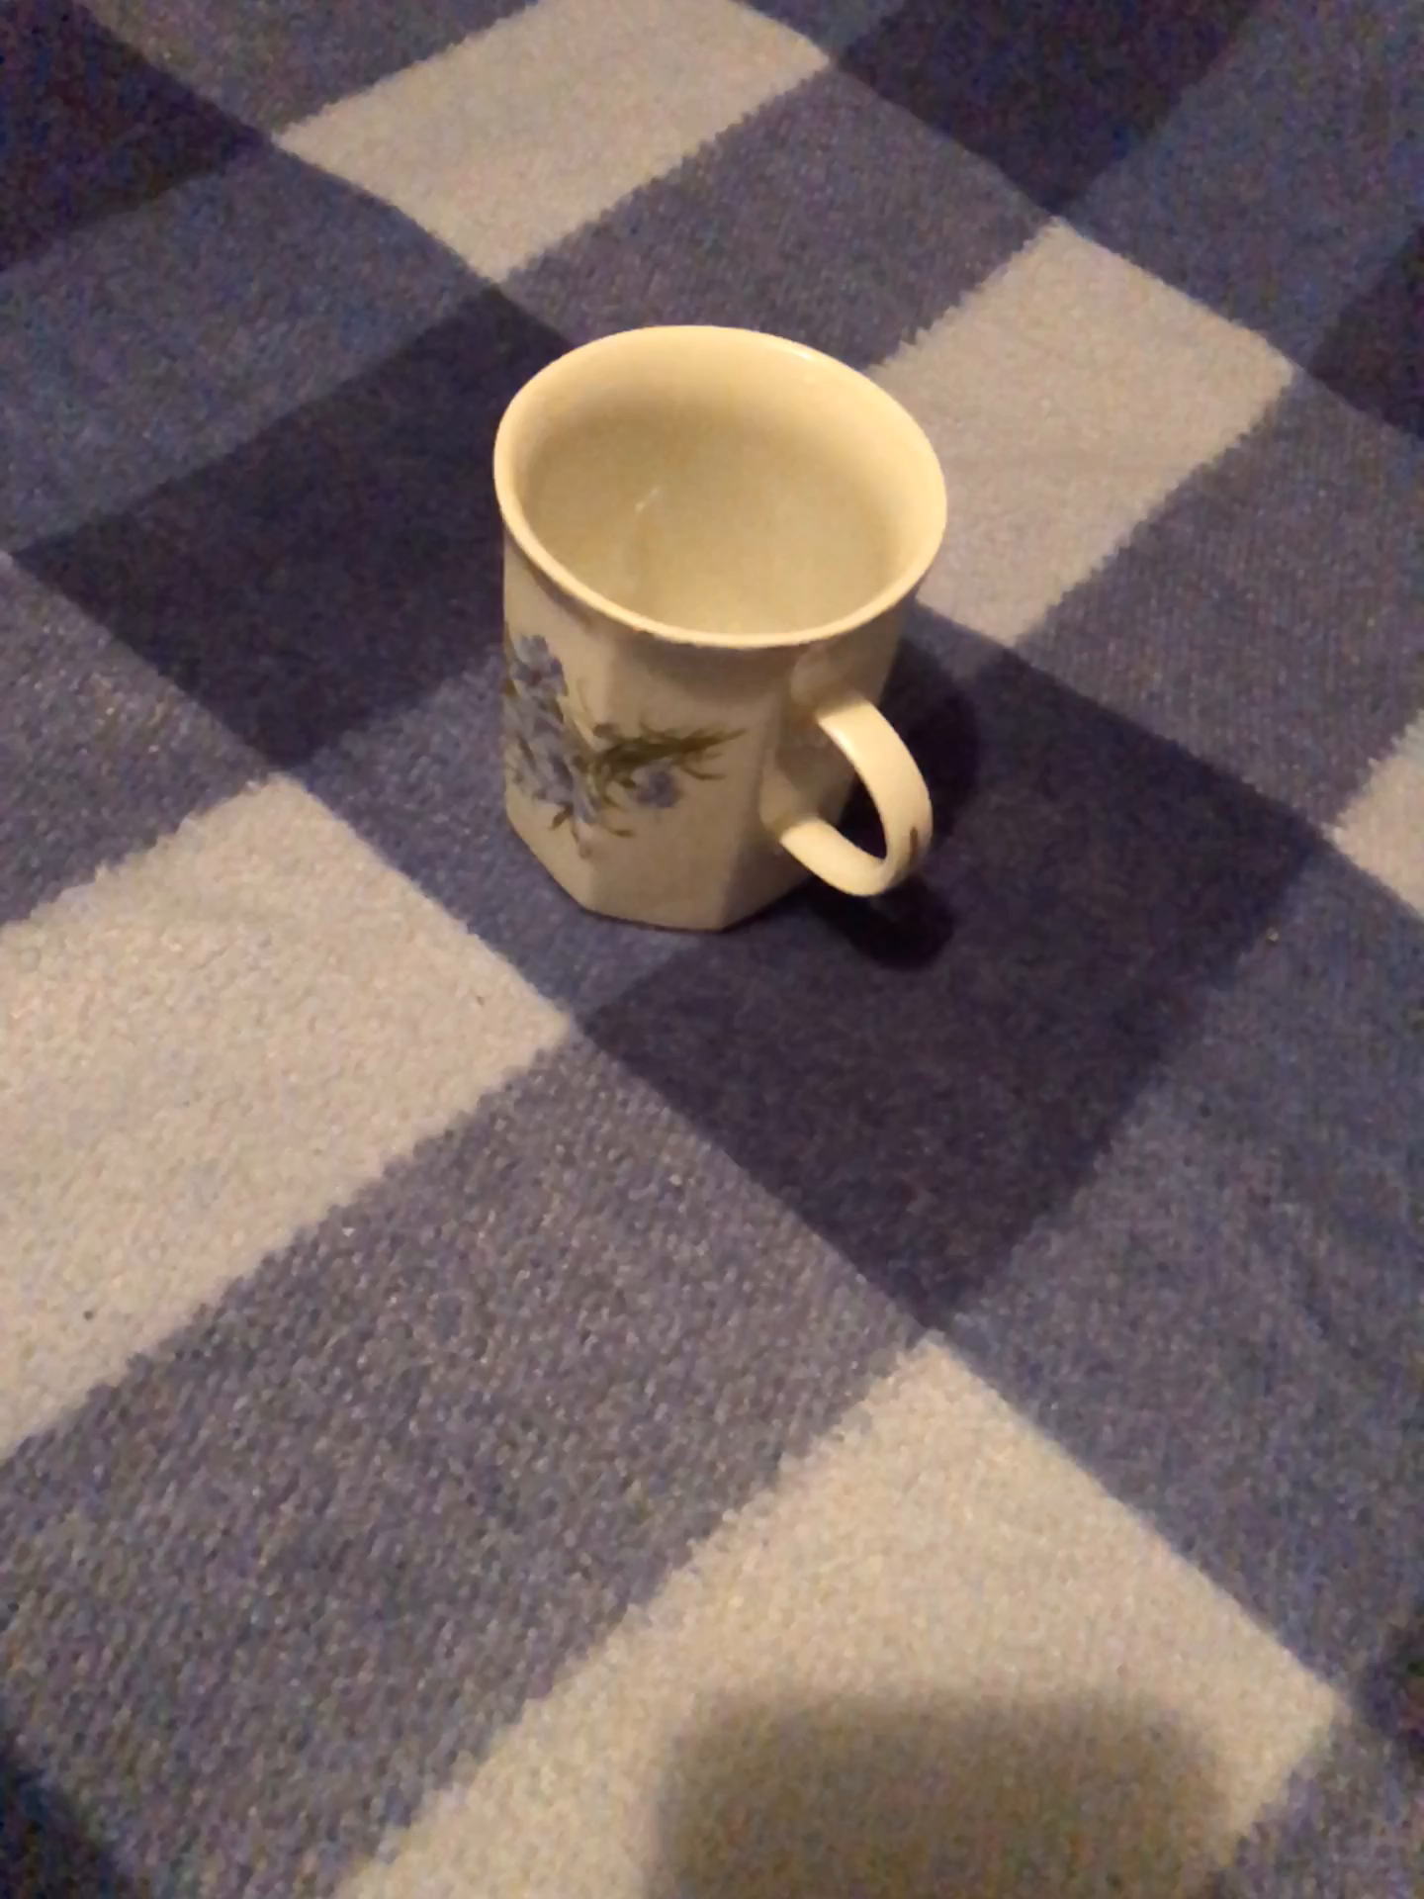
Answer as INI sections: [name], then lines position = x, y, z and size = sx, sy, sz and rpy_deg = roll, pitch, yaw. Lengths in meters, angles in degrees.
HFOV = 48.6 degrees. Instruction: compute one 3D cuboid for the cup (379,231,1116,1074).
[cup]
position = 0.001, -0.054, 0.295
size = 0.077, 0.094, 0.098
rpy_deg = -28, 64, -20
